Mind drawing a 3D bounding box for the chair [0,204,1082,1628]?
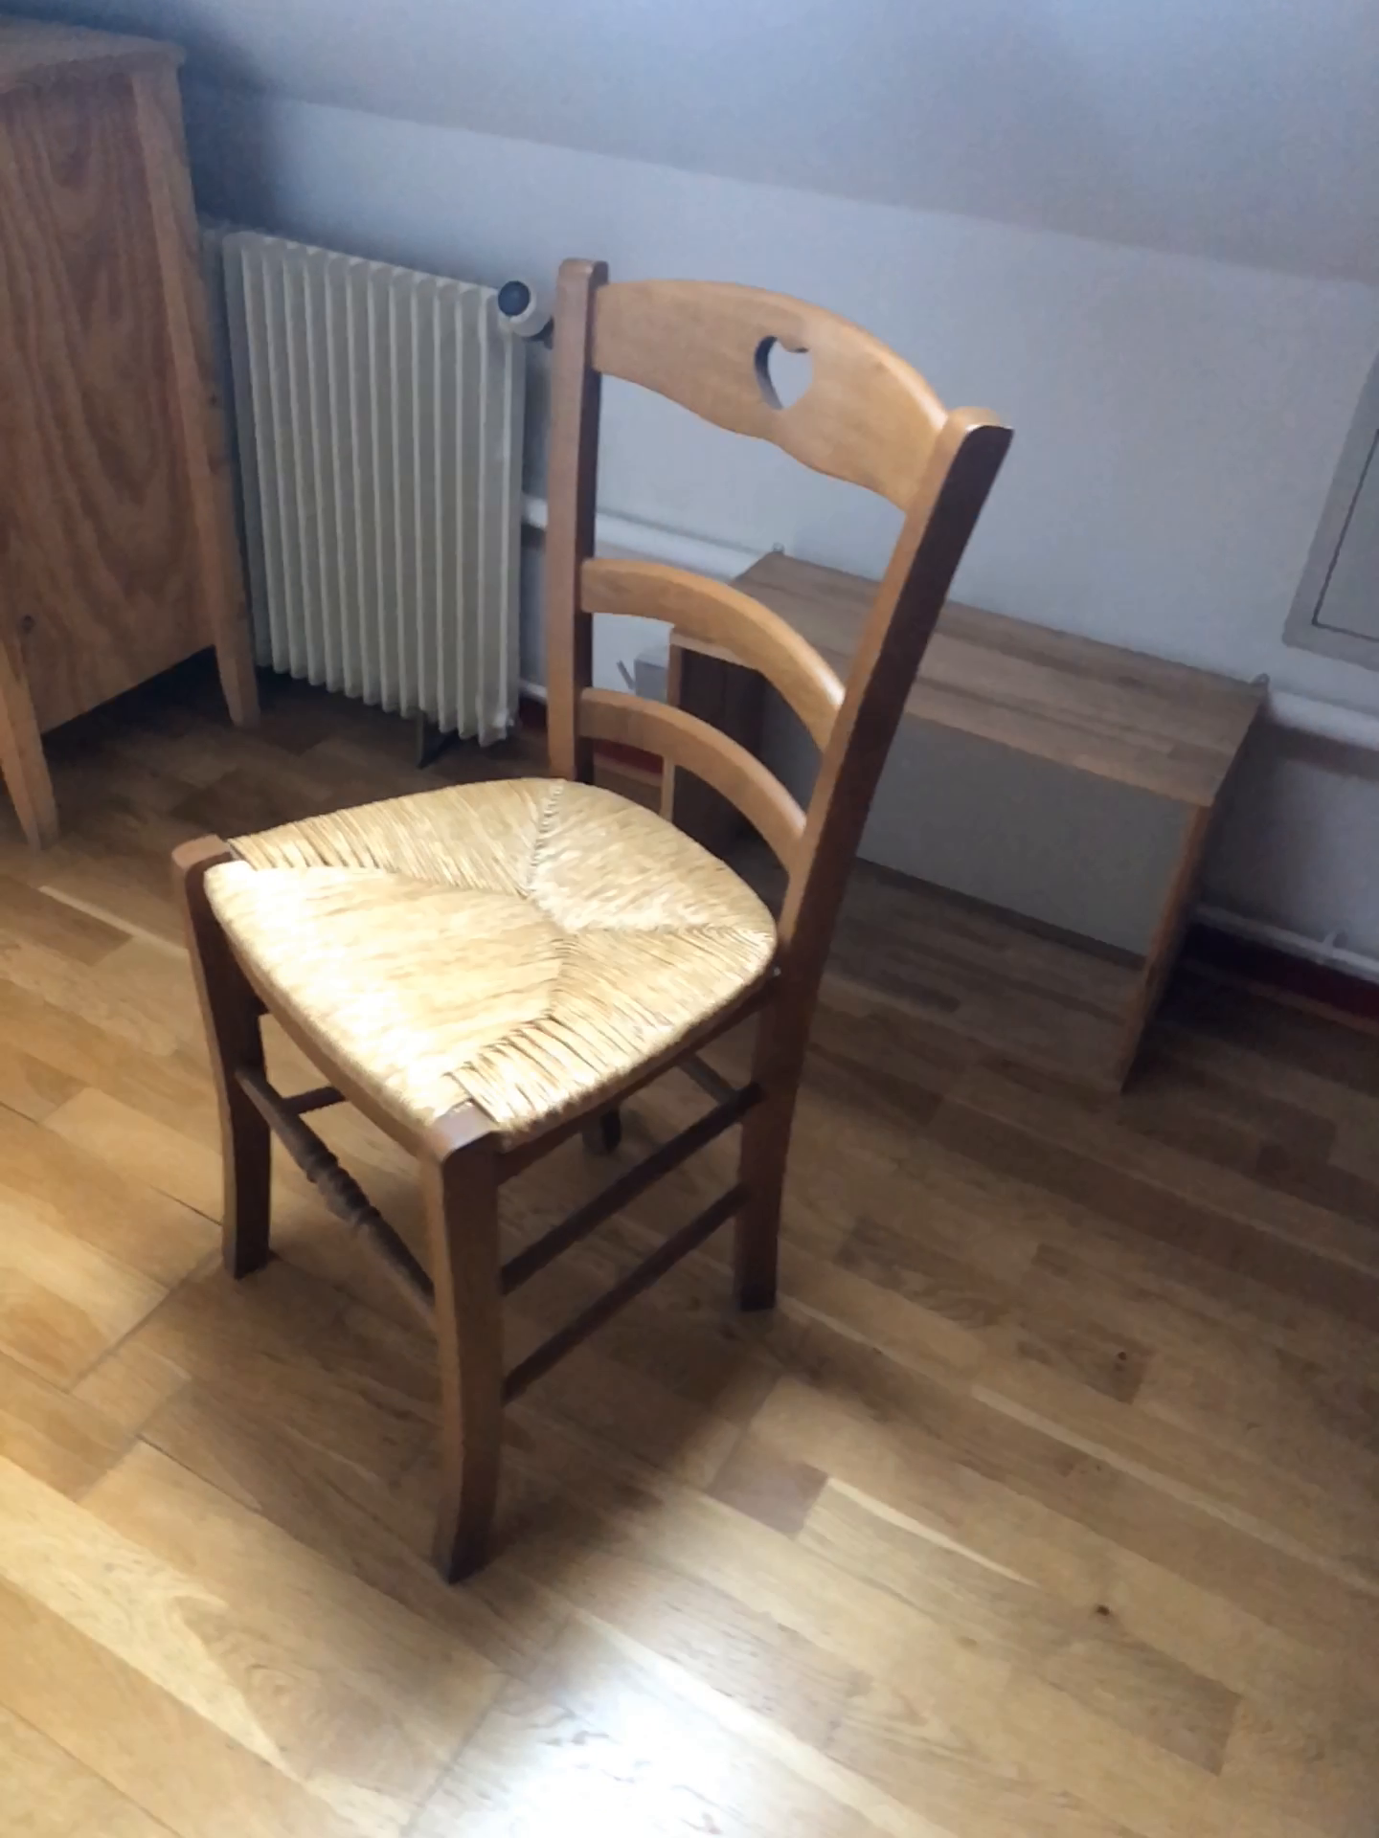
[{"bbox_3d":[-0.129,-0.014,1.070,0.435,0.792,0.459,-23,44,-33],"label":"chair"}]
